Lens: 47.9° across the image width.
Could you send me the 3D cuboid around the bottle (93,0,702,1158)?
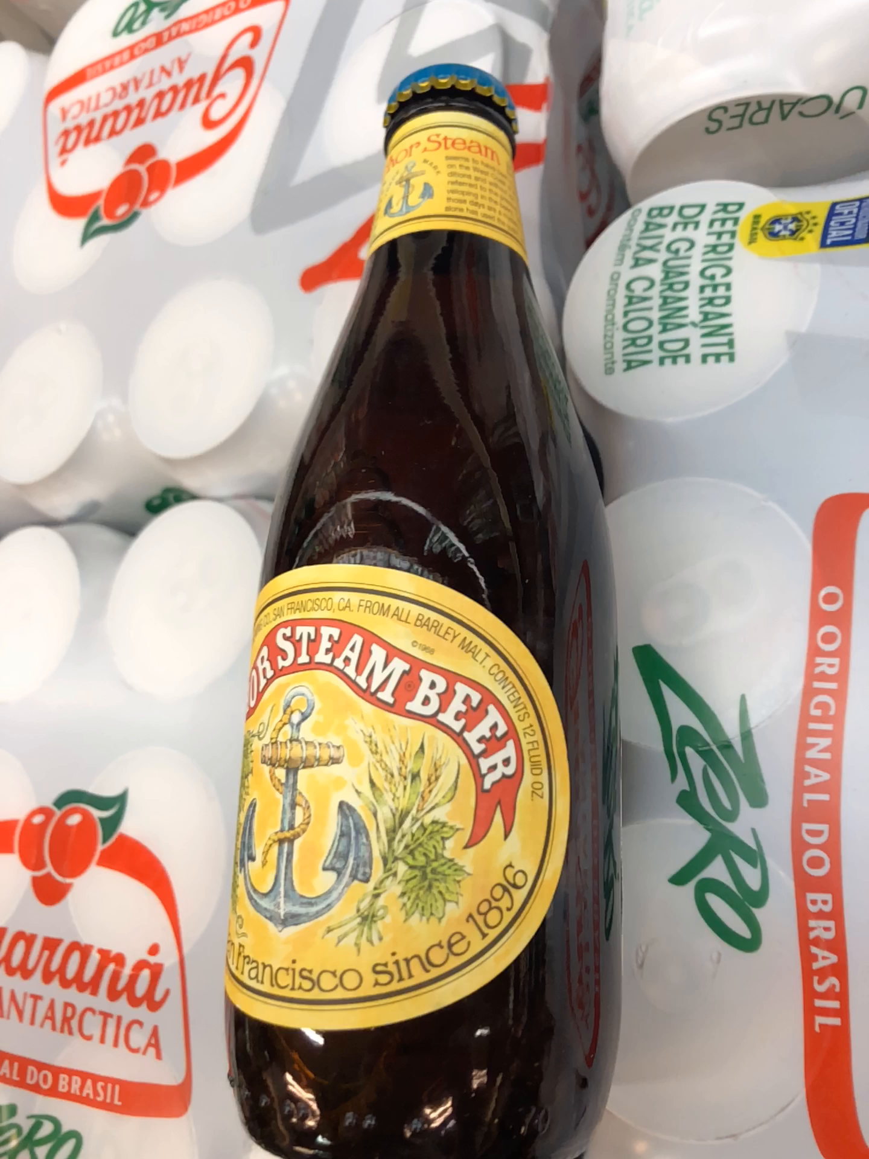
[{"bbox_3d":[-0.003,-0.018,0.174,0.070,0.060,0.220,-8,74,30],"label":"bottle"}]
